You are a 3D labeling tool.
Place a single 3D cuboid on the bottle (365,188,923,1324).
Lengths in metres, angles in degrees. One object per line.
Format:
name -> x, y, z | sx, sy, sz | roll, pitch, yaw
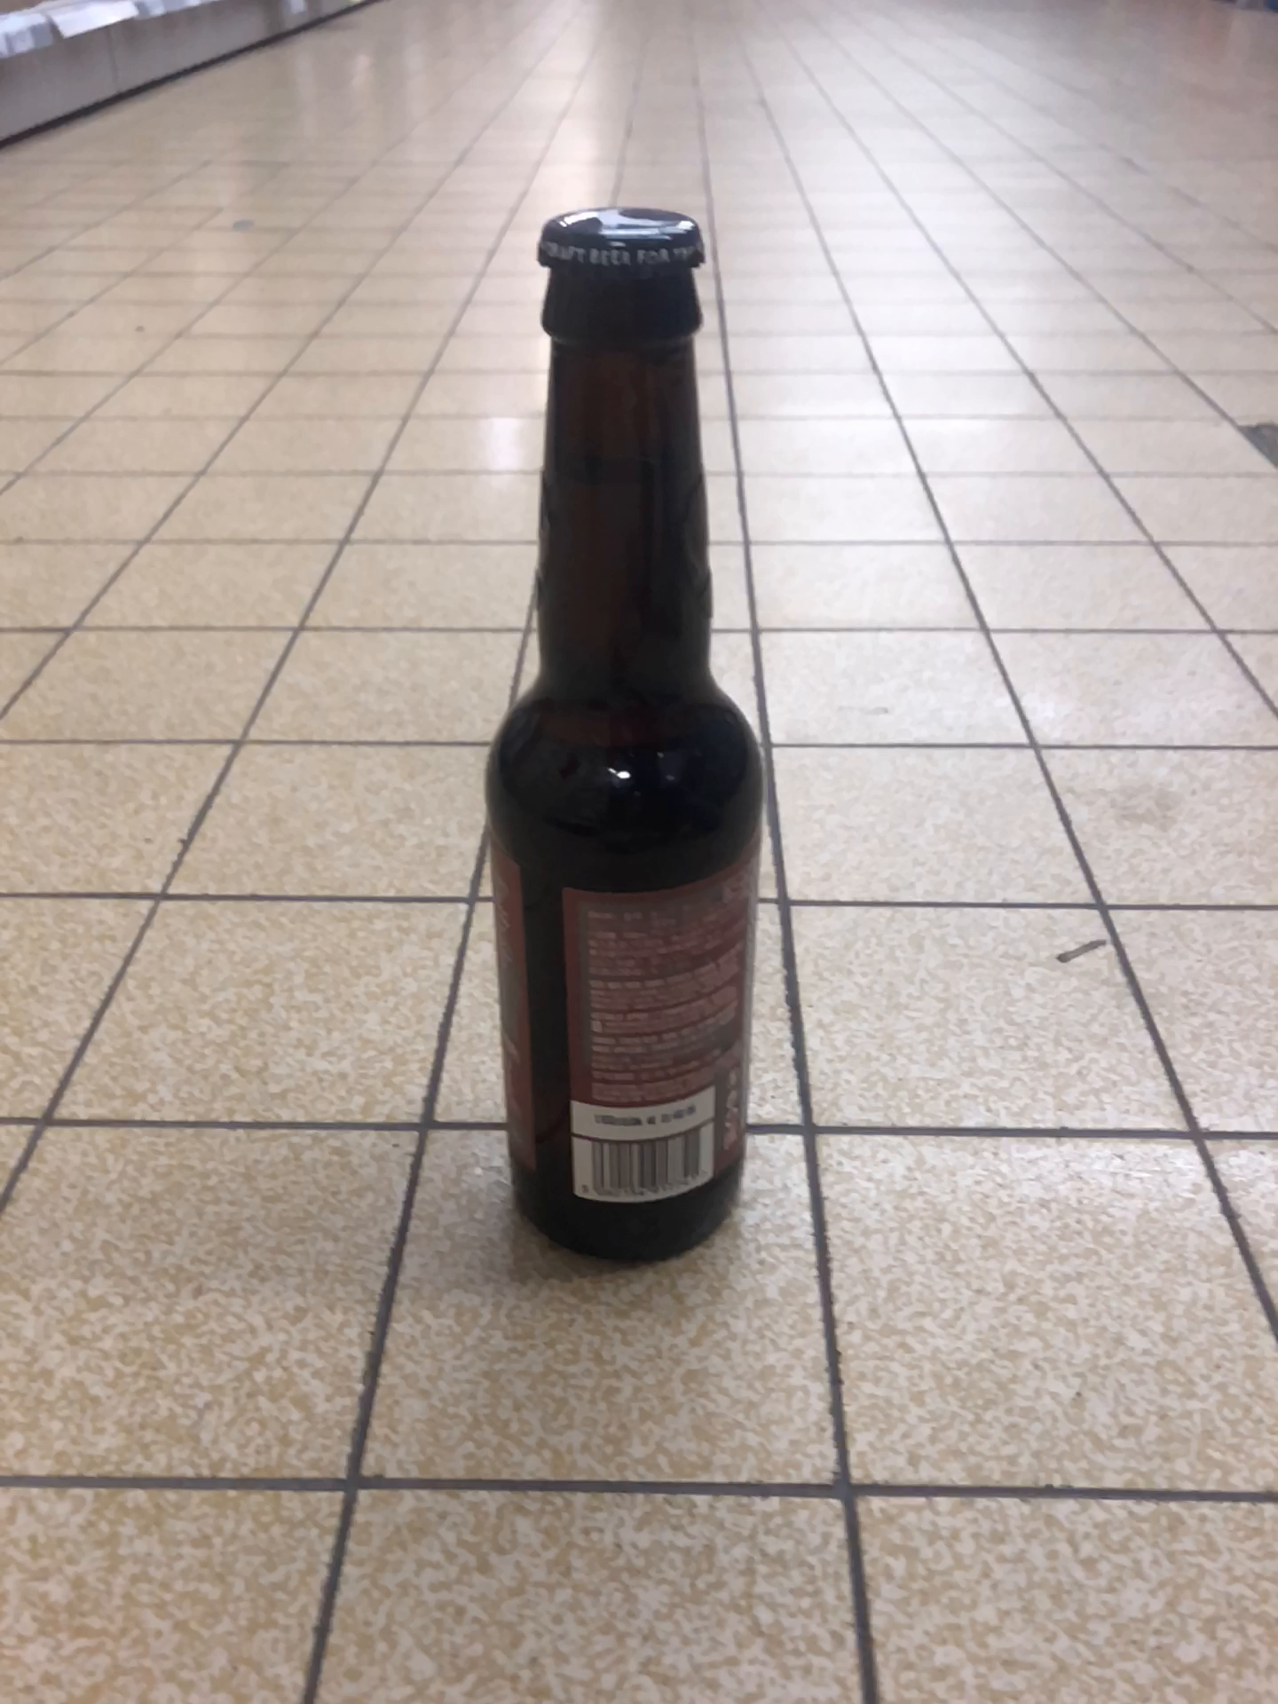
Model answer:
bottle -> -0.002, -0.011, 0.282 | 0.070, 0.209, 0.070 | -1, 34, 0
